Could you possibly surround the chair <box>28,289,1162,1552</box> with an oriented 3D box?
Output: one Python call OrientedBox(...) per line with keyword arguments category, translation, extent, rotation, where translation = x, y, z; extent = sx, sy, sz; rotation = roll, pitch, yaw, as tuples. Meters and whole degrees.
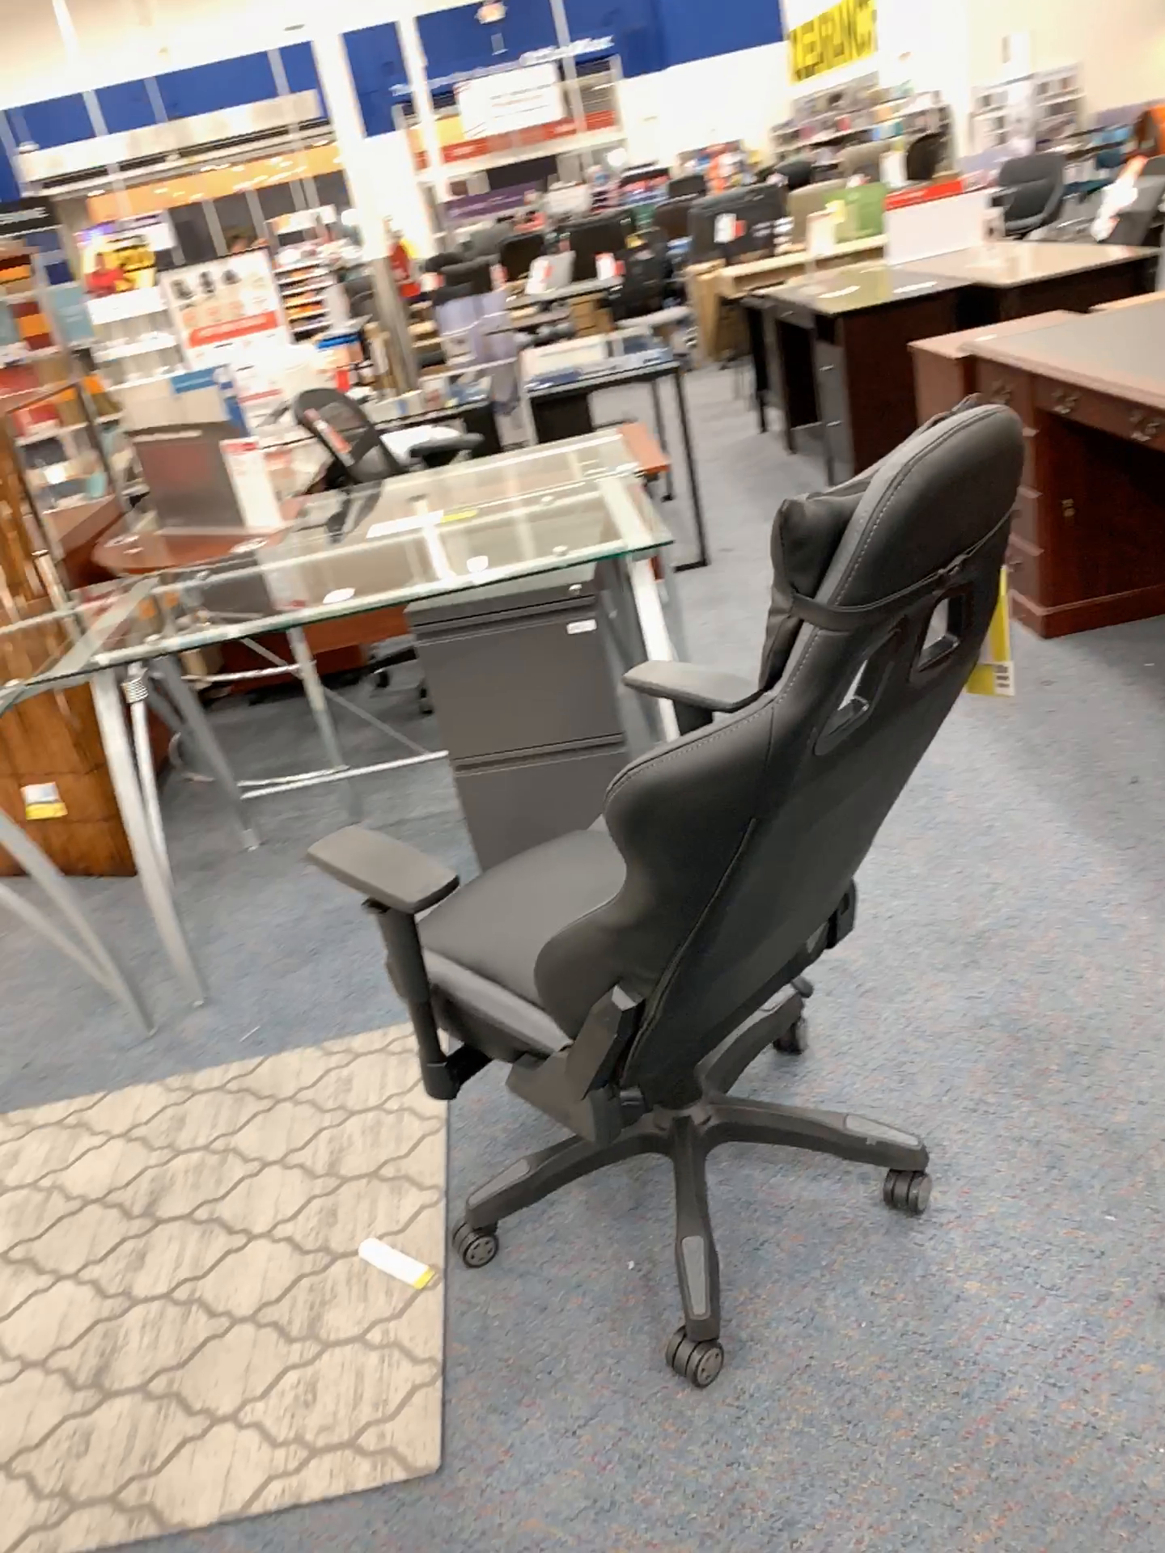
OrientedBox(category="chair", translation=(0.076, 0.084, 1.459), extent=(0.914, 1.062, 0.787), rotation=(14, 36, 43))
